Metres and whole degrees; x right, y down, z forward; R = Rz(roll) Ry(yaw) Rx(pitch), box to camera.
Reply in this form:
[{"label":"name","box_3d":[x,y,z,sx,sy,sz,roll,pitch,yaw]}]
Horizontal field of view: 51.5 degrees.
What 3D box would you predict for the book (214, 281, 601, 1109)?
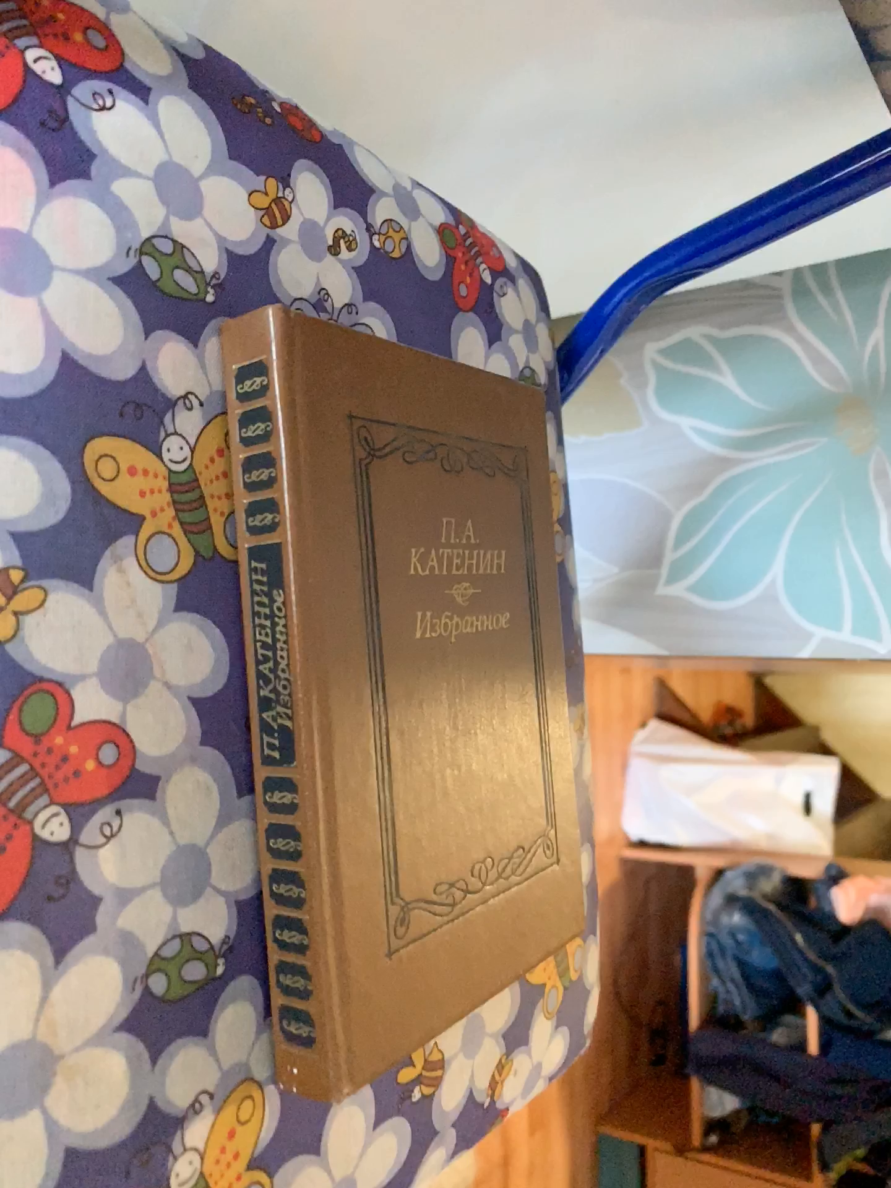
[{"label":"book","box_3d":[-0.001,0.019,0.246,0.124,0.020,0.170,-3,89,-55]}]
